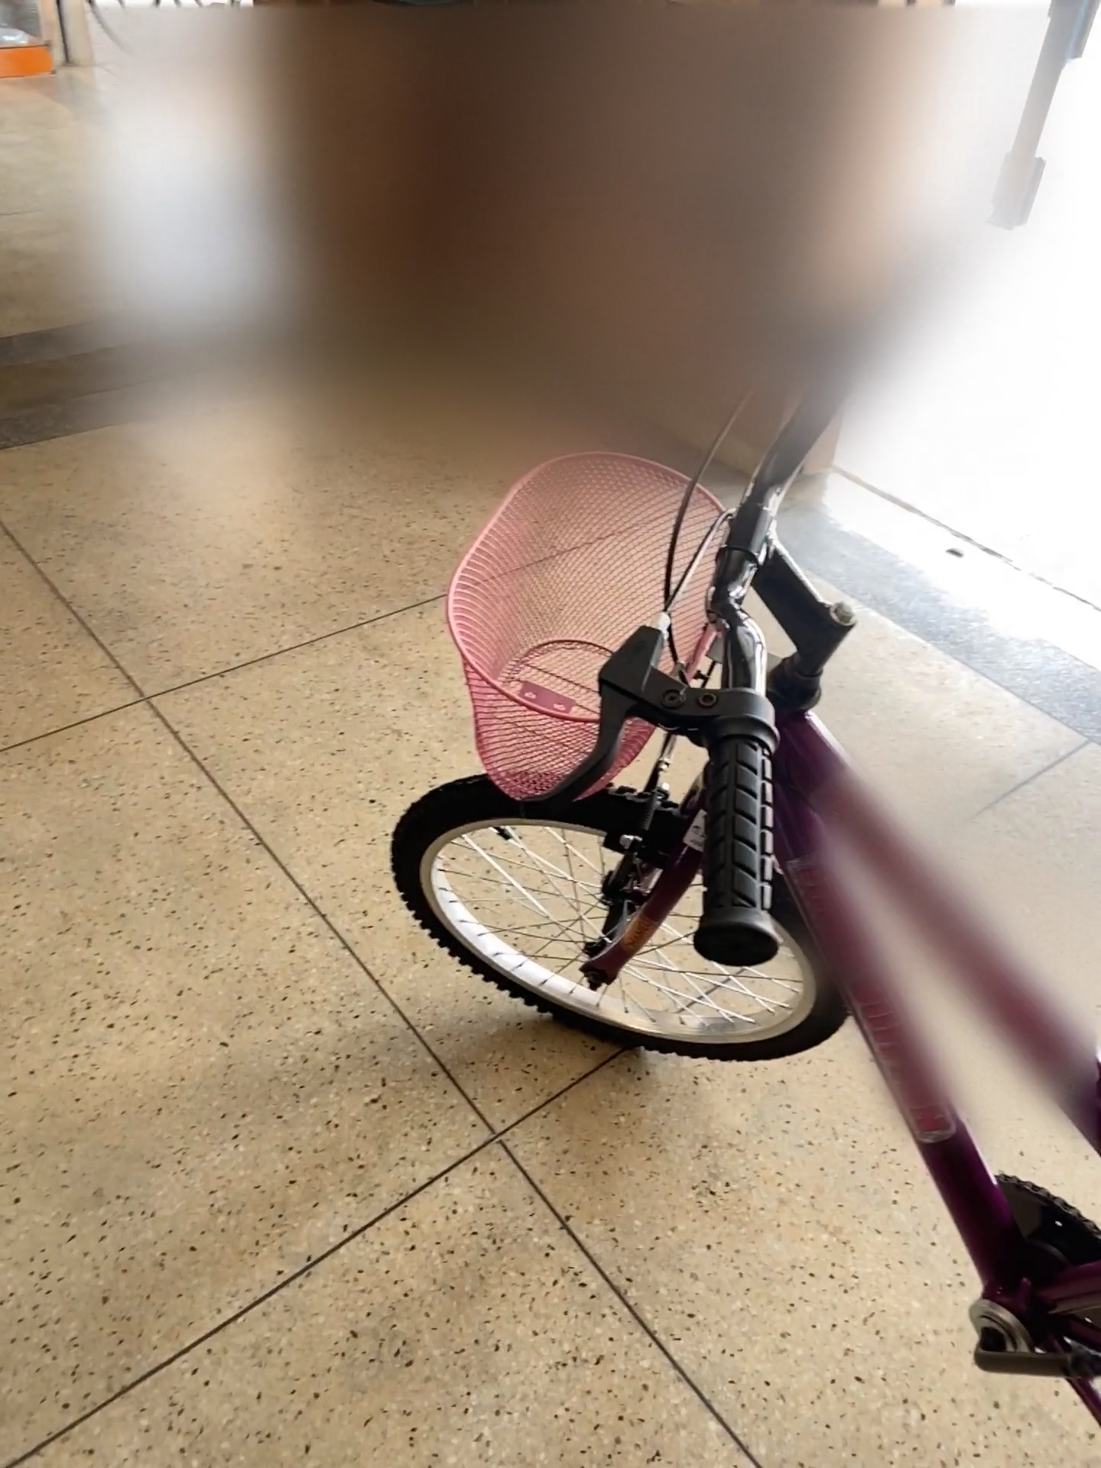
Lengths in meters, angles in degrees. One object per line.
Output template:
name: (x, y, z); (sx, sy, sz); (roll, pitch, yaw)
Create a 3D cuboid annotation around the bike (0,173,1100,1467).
bike: (0.311, 0.314, 0.744); (1.263, 0.933, 0.617); (34, 47, 31)
